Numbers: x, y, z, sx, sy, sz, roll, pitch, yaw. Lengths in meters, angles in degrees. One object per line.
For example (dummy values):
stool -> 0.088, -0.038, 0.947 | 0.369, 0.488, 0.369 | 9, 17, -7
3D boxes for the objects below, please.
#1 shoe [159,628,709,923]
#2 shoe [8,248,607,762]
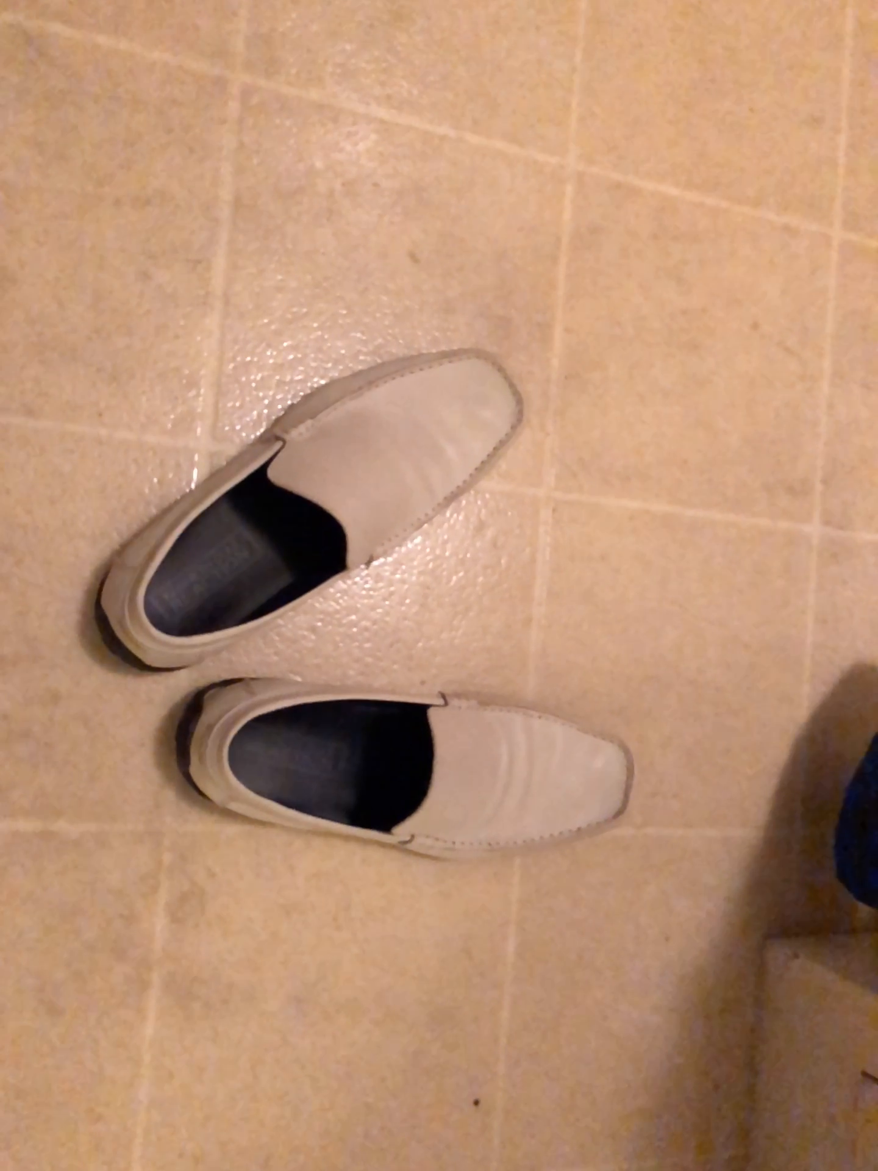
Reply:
shoe -> -0.002, 0.110, 0.564 | 0.290, 0.097, 0.110 | 13, 85, -18
shoe -> -0.068, -0.049, 0.544 | 0.307, 0.097, 0.110 | -38, 101, -16
